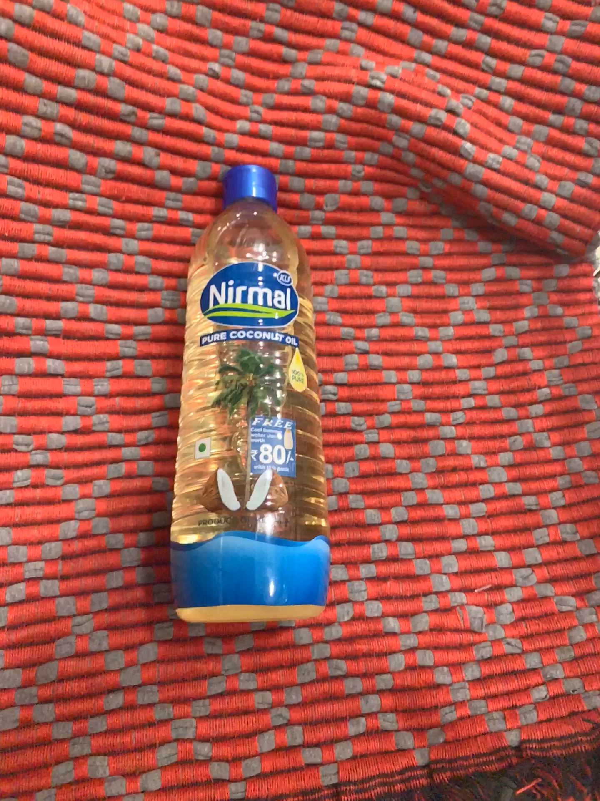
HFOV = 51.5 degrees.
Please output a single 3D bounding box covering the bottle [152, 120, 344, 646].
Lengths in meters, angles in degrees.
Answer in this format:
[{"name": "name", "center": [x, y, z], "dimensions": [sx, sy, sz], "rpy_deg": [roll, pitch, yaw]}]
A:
[{"name": "bottle", "center": [-0.020, -0.011, 0.250], "dimensions": [0.060, 0.050, 0.200], "rpy_deg": [1, 72, -7]}]
